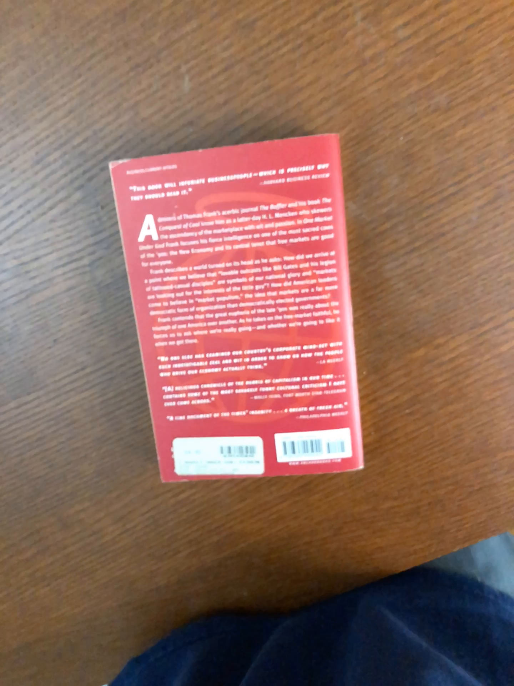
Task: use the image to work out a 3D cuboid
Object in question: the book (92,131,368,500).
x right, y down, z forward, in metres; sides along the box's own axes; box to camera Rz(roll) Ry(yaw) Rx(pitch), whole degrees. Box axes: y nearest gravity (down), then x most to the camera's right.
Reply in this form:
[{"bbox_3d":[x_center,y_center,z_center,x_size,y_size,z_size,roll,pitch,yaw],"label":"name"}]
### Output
[{"bbox_3d":[-0.011,-0.009,0.356,0.140,0.030,0.210,-5,104,6],"label":"book"}]
